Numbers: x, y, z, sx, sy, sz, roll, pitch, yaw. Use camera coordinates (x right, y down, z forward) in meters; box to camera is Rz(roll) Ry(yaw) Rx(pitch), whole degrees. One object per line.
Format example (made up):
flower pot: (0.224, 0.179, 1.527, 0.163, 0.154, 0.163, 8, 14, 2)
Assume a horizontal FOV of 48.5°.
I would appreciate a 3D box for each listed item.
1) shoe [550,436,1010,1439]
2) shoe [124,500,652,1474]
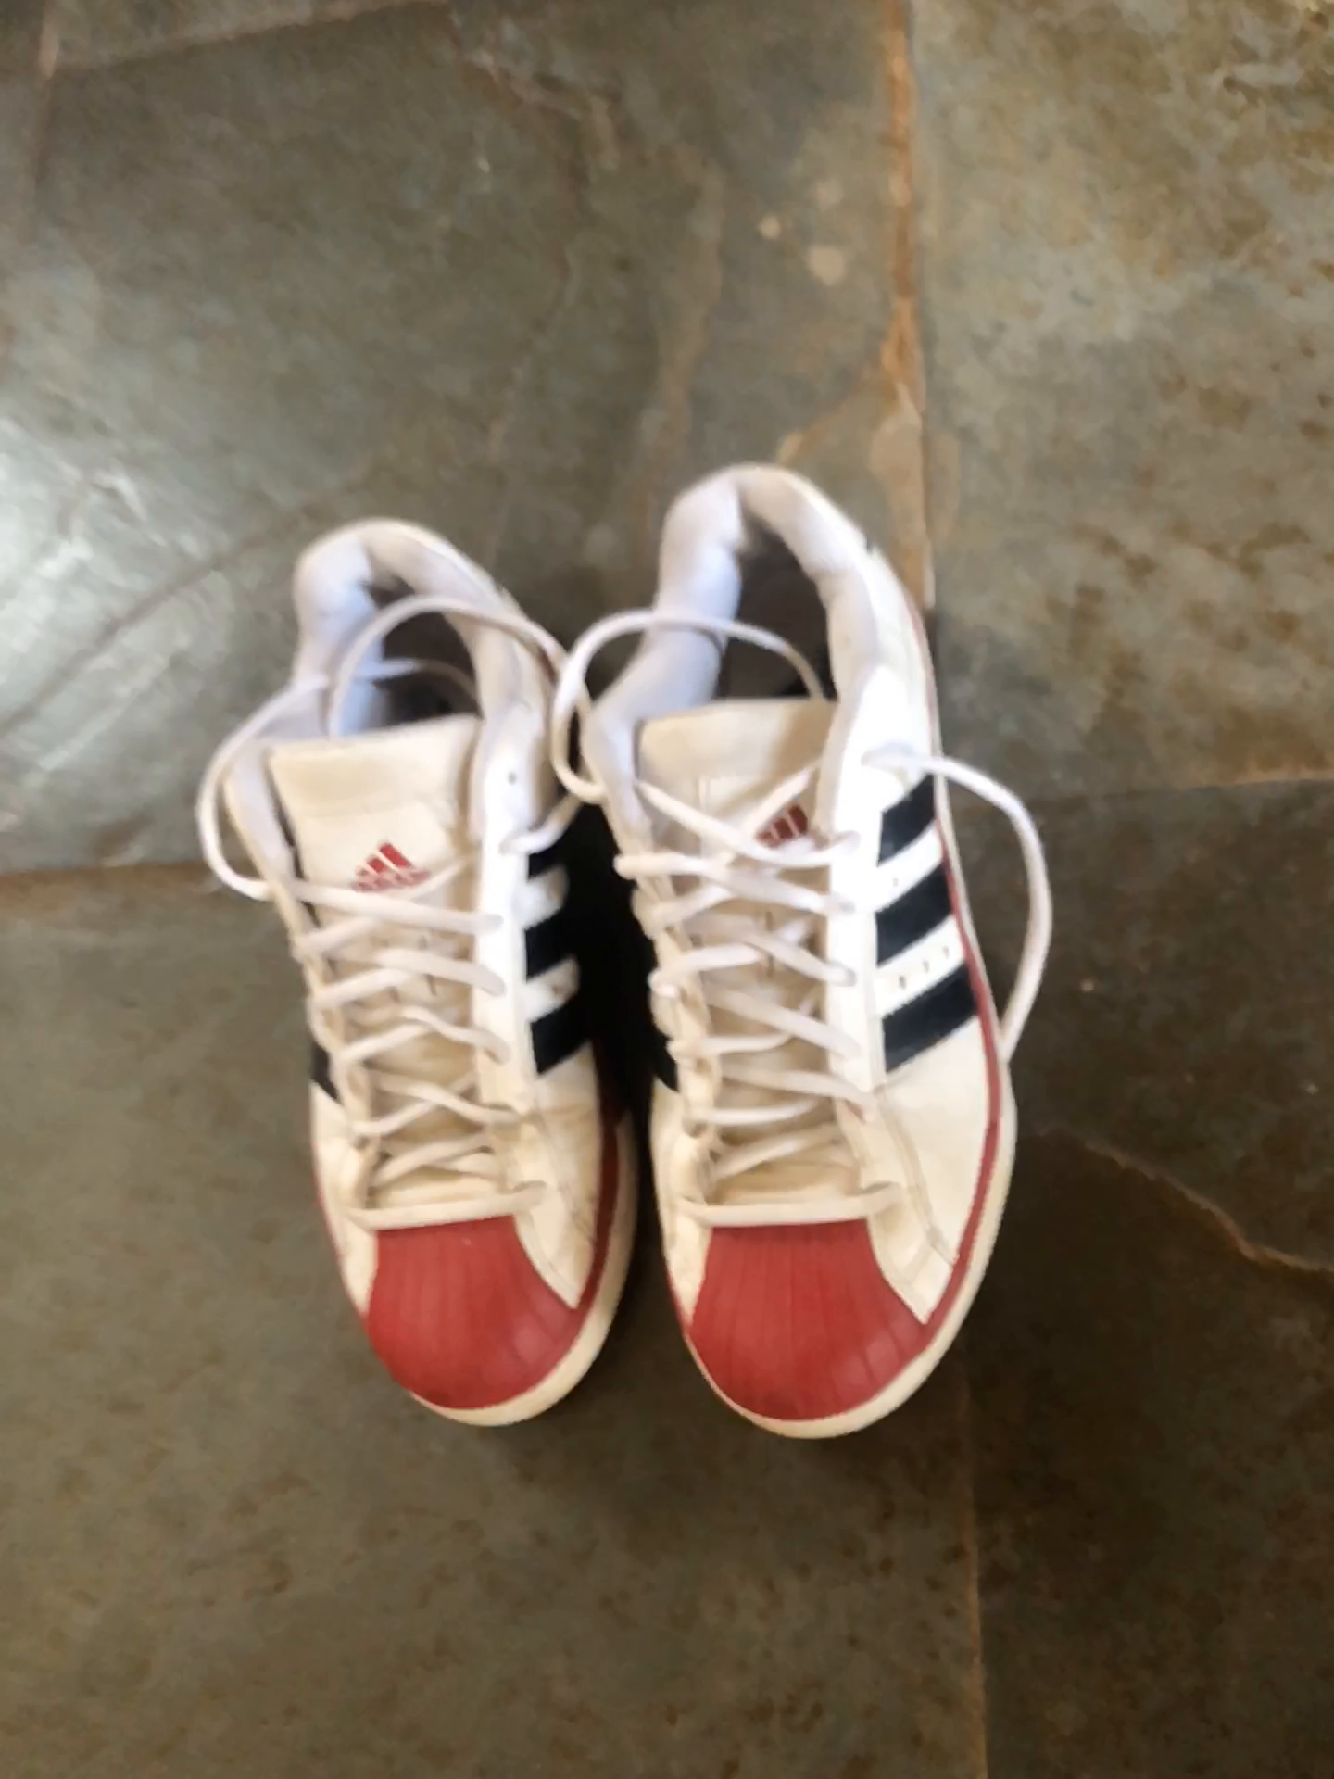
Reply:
shoe: (0.035, 0.019, 0.449, 0.110, 0.110, 0.271, -5, 72, 13)
shoe: (-0.083, 0.036, 0.479, 0.110, 0.130, 0.271, -8, 72, 12)
